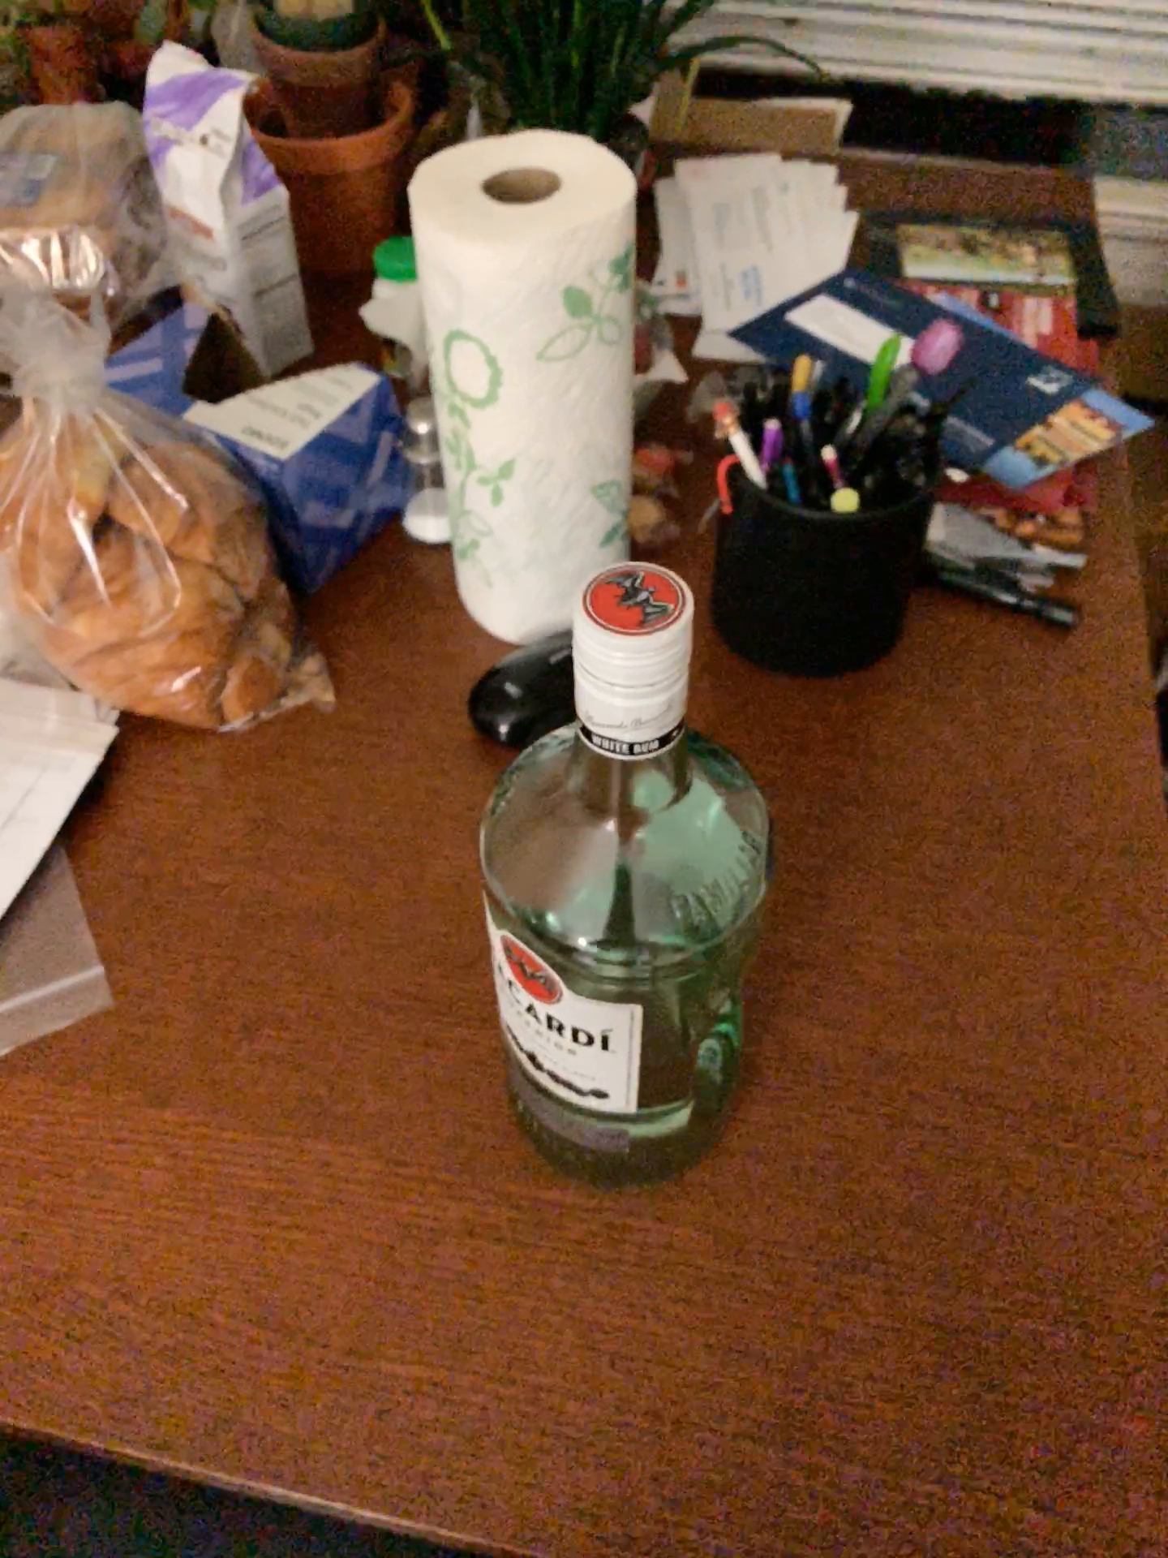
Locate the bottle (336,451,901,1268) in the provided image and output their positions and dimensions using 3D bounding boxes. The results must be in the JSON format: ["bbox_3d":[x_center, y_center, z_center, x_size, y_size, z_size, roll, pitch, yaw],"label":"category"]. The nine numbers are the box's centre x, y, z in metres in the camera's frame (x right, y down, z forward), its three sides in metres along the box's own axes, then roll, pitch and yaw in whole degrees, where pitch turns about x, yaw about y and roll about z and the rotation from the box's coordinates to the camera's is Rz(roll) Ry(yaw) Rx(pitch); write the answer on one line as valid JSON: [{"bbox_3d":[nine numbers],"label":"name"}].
[{"bbox_3d":[0.012,0.057,0.491,0.120,0.329,0.120,0,51,1],"label":"bottle"}]
